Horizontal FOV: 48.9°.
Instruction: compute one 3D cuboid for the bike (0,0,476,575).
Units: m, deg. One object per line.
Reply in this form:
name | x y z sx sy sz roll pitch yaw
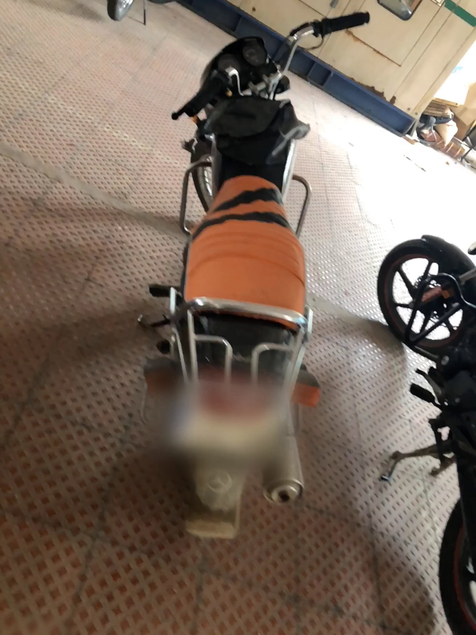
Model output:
bike | -0.099 -0.277 1.481 0.689 1.124 1.408 21 38 -20
